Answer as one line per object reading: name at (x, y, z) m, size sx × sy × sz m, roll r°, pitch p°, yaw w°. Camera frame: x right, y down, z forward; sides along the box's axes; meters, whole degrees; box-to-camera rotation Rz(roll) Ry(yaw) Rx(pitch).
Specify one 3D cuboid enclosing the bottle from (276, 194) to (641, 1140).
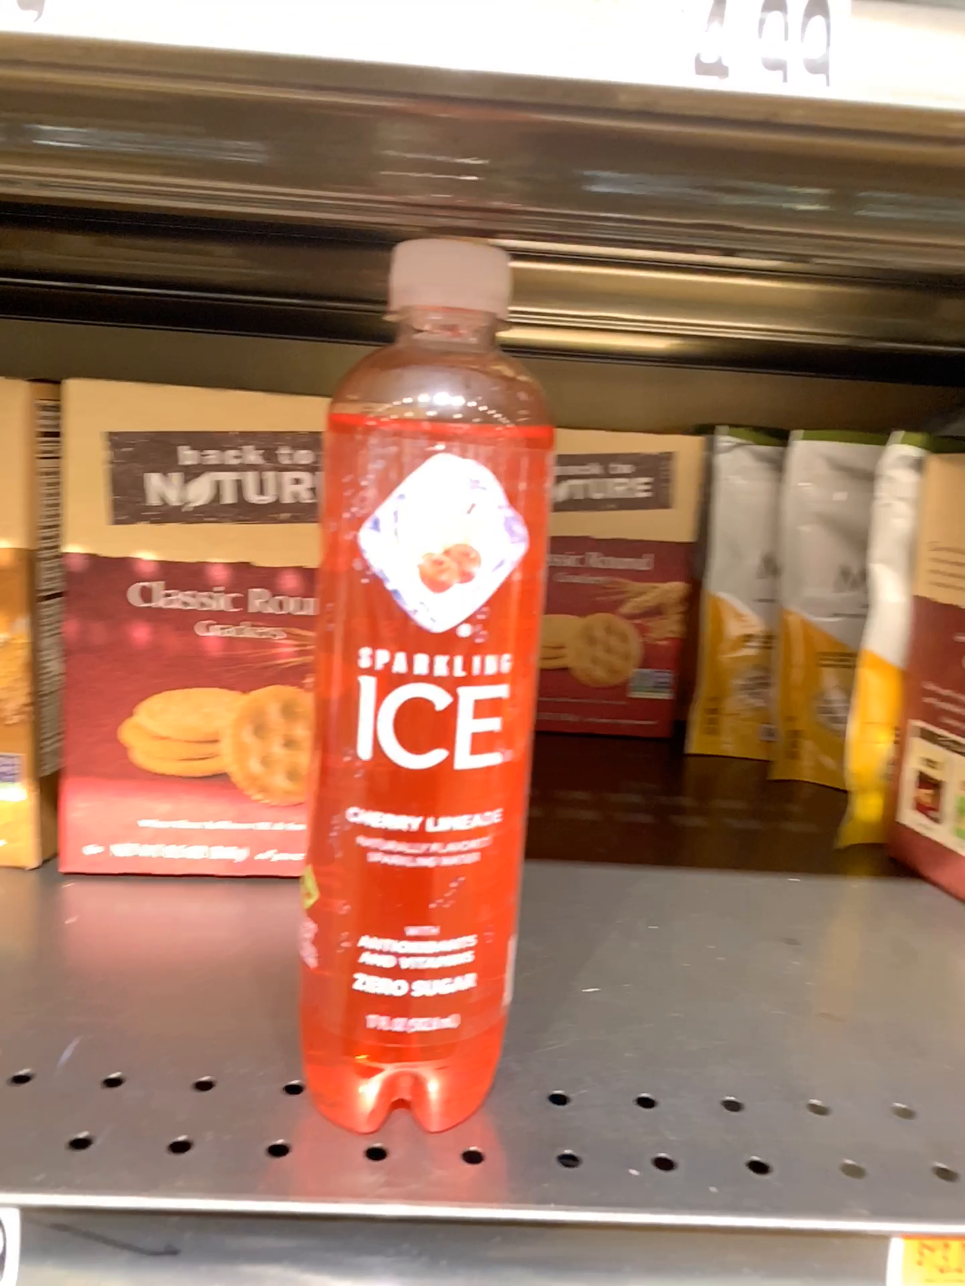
bottle at (-0.011, 0.010, 0.246) m, size 0.065 × 0.211 × 0.060 m, roll 4°, pitch 13°, yaw -1°
